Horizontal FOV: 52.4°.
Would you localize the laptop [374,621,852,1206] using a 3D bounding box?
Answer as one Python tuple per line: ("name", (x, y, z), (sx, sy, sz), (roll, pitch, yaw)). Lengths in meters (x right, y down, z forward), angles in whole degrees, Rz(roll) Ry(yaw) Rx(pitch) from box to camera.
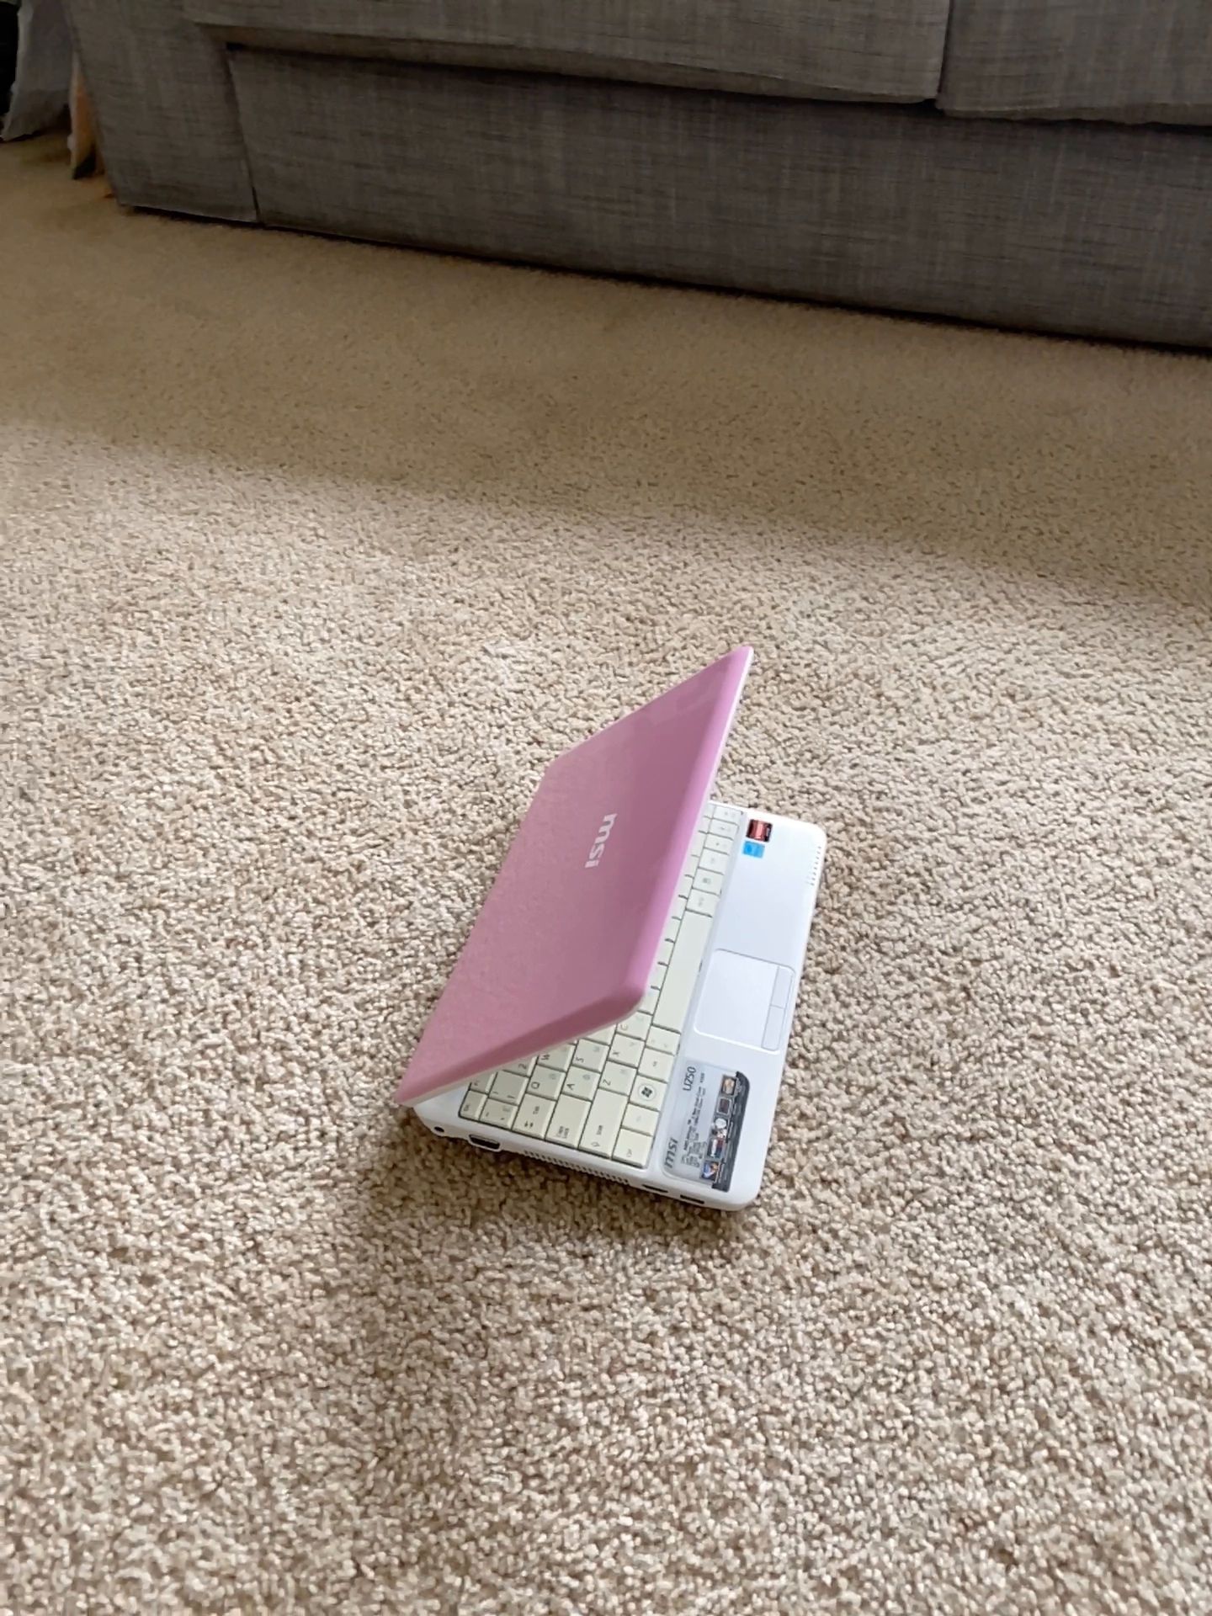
("laptop", (0.022, 0.043, 0.714), (0.193, 0.125, 0.291), (12, 44, 10))
